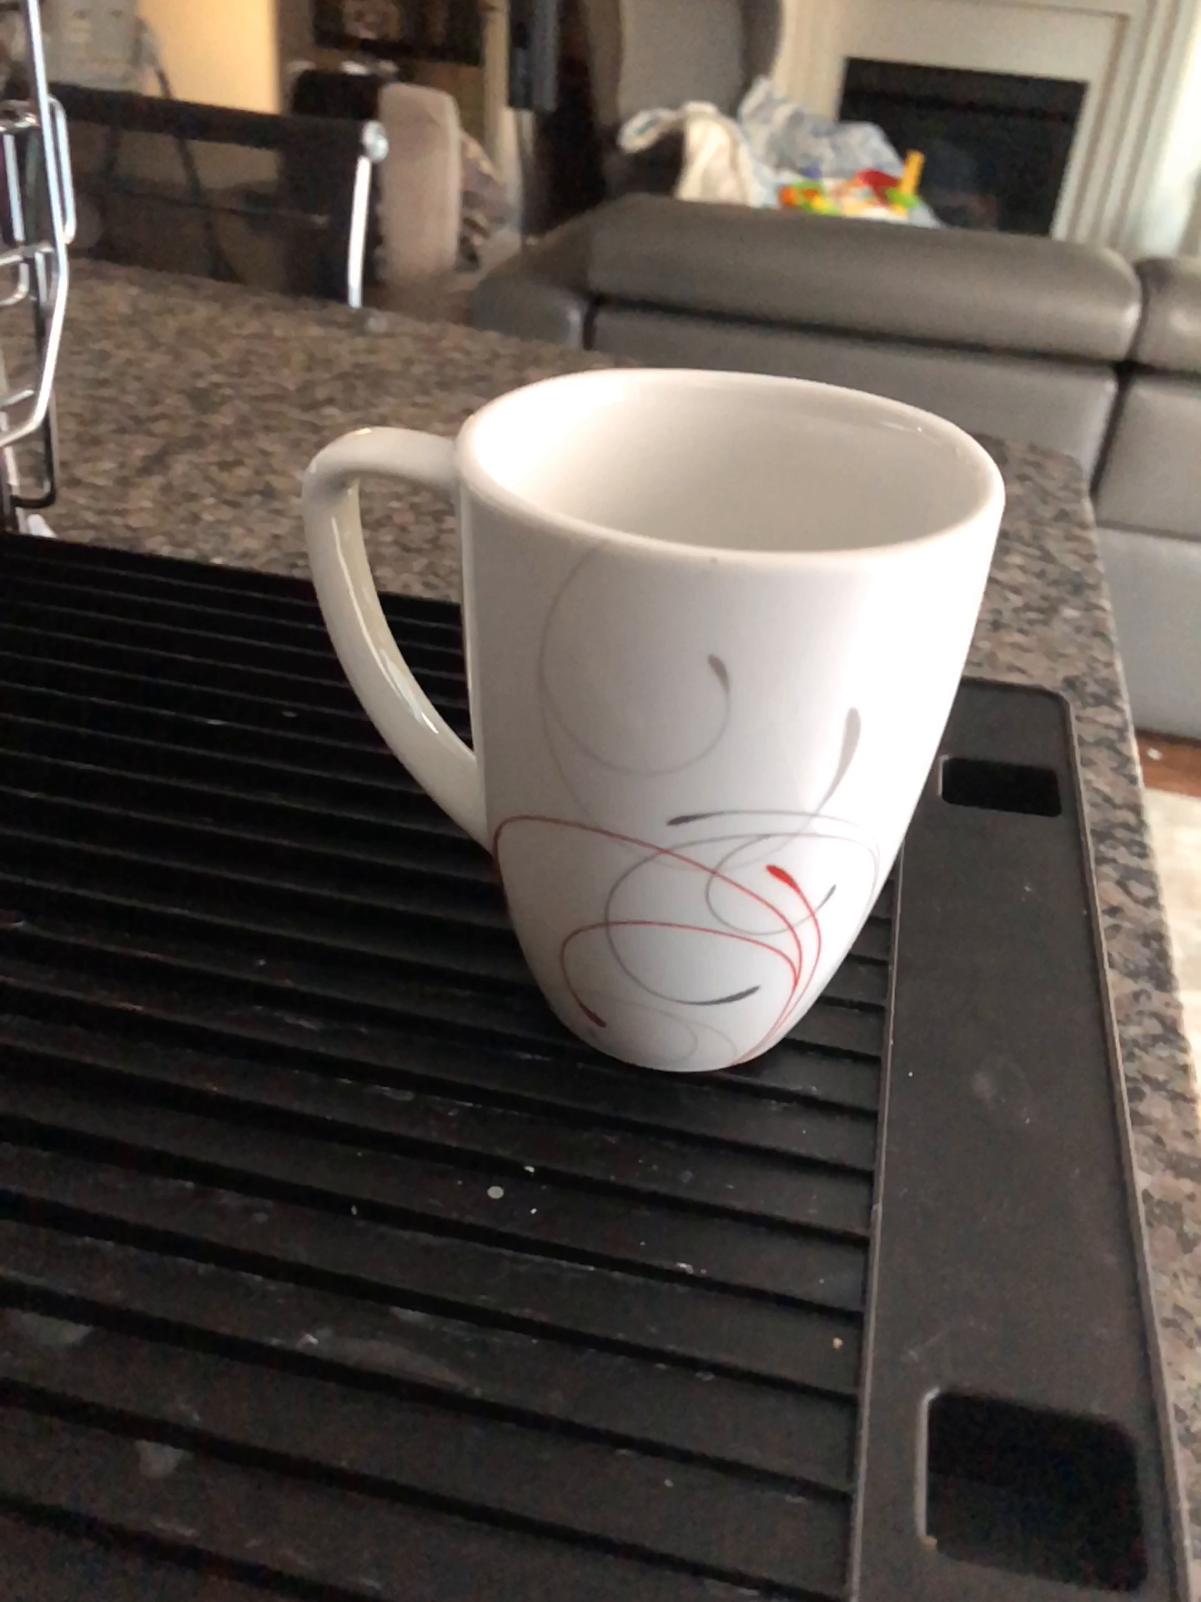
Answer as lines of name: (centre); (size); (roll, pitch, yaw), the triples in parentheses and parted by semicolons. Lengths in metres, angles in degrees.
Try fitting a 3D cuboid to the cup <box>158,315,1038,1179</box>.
cup: (0.003, -0.015, 0.237); (0.116, 0.105, 0.088); (10, 33, 8)
